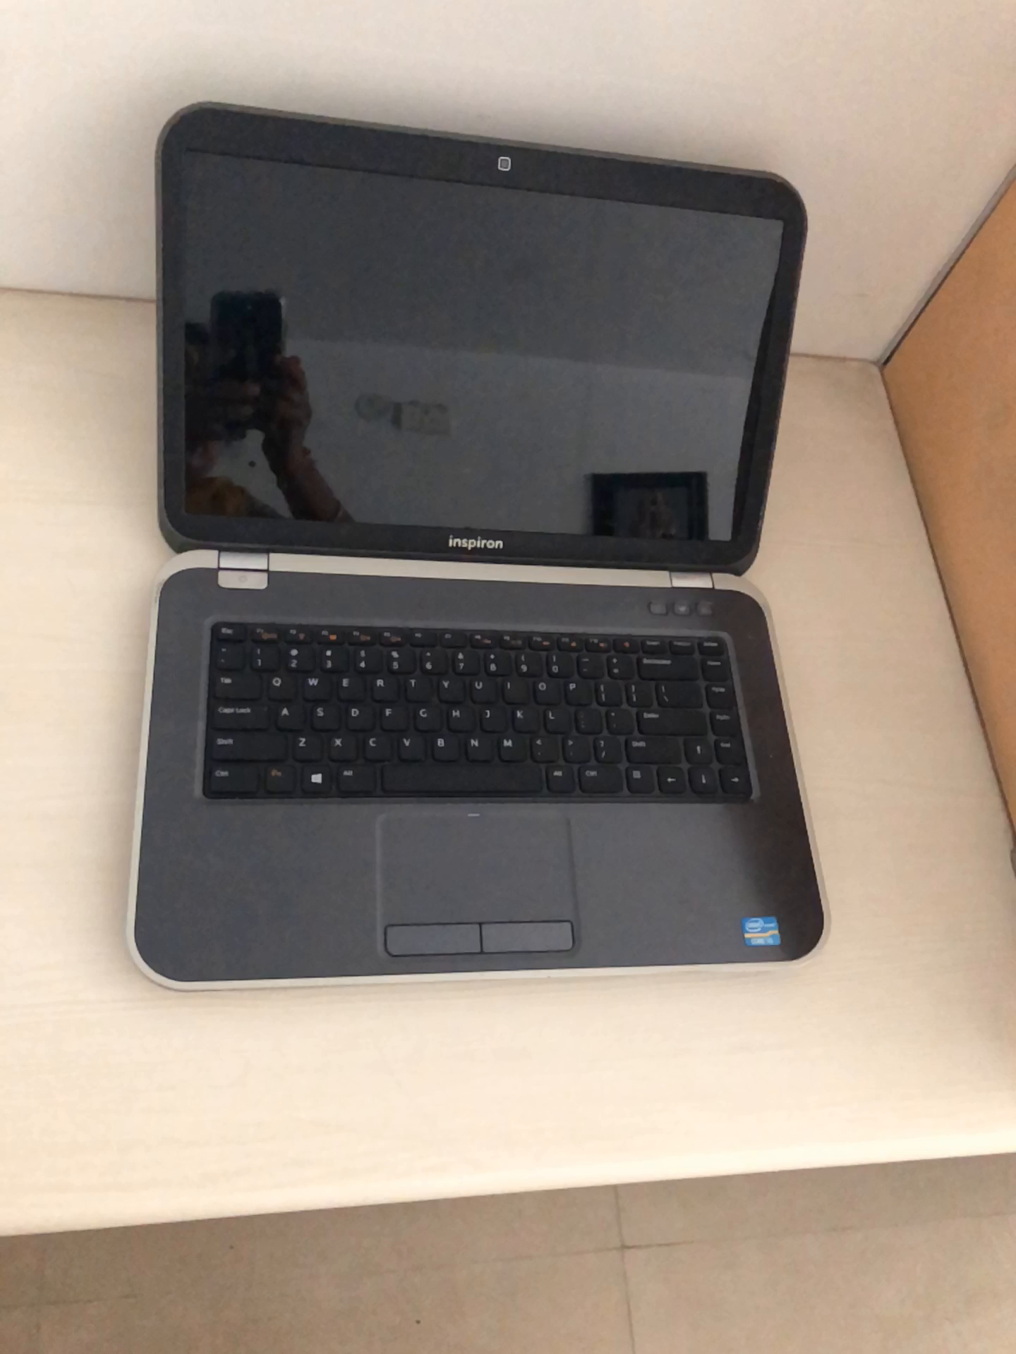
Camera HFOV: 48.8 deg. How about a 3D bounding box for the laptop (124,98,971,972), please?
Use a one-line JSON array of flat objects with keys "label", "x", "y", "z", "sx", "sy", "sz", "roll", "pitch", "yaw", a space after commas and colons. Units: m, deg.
[{"label": "laptop", "x": -0.001, "y": -0.074, "z": 0.589, "sx": 0.339, "sy": 0.152, "sz": 0.410, "roll": 1, "pitch": 64, "yaw": -12}]
